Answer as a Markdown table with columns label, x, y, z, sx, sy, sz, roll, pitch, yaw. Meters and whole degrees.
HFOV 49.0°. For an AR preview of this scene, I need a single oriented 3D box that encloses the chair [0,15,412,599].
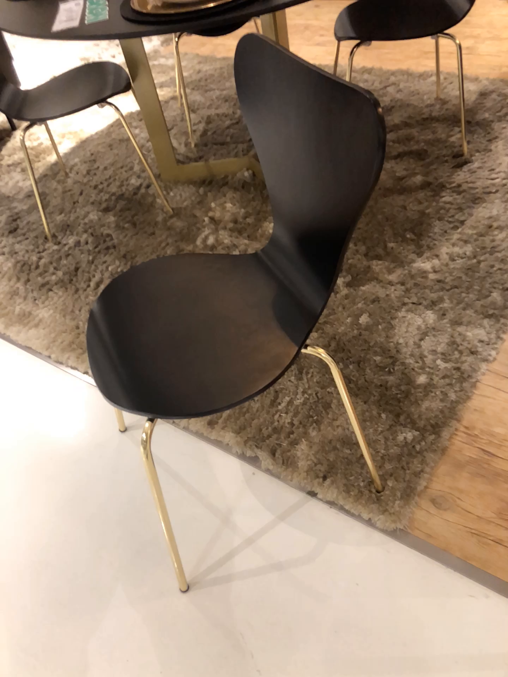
| label | x | y | z | sx | sy | sz | roll | pitch | yaw |
| --- | --- | --- | --- | --- | --- | --- | --- | --- | --- |
| chair | -0.099 | -0.033 | 0.985 | 0.500 | 0.755 | 0.503 | -25 | 46 | -12 |
